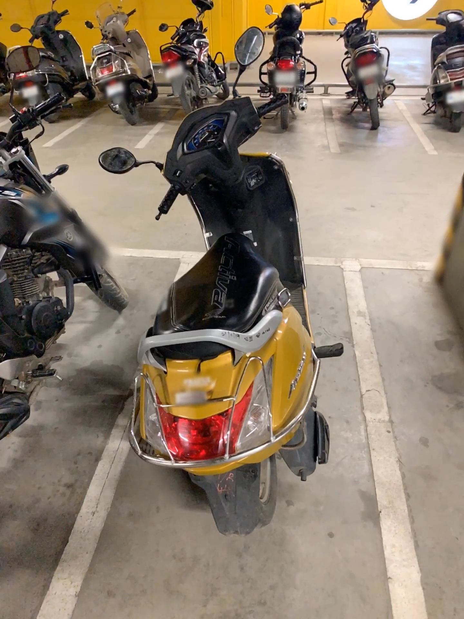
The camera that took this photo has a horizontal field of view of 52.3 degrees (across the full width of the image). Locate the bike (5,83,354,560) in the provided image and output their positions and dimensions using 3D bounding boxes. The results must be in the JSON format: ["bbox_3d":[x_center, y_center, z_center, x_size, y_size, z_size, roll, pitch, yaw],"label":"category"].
[{"bbox_3d":[-0.081,-0.134,1.684,0.568,0.993,1.528,-1,34,1],"label":"bike"}]
